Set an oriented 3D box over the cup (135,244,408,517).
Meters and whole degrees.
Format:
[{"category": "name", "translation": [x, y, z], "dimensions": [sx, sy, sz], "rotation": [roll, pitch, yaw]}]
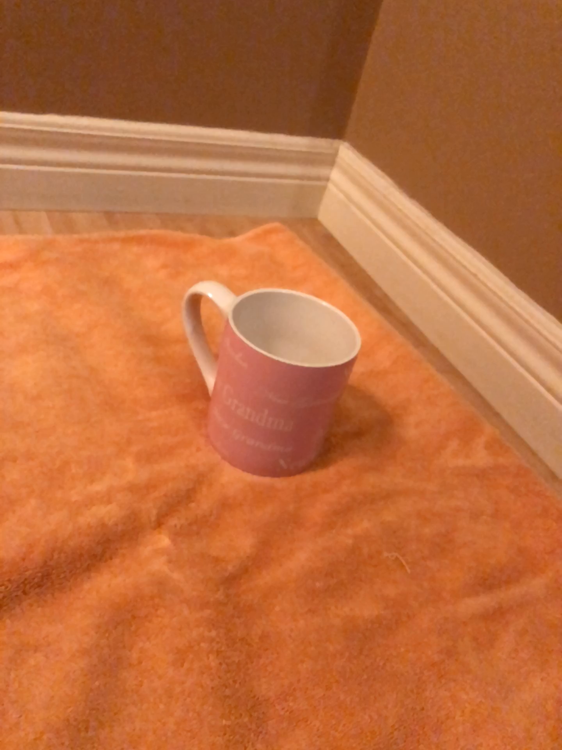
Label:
[{"category": "cup", "translation": [-0.013, -0.004, 0.454], "dimensions": [0.140, 0.109, 0.110], "rotation": [39, 41, 27]}]
